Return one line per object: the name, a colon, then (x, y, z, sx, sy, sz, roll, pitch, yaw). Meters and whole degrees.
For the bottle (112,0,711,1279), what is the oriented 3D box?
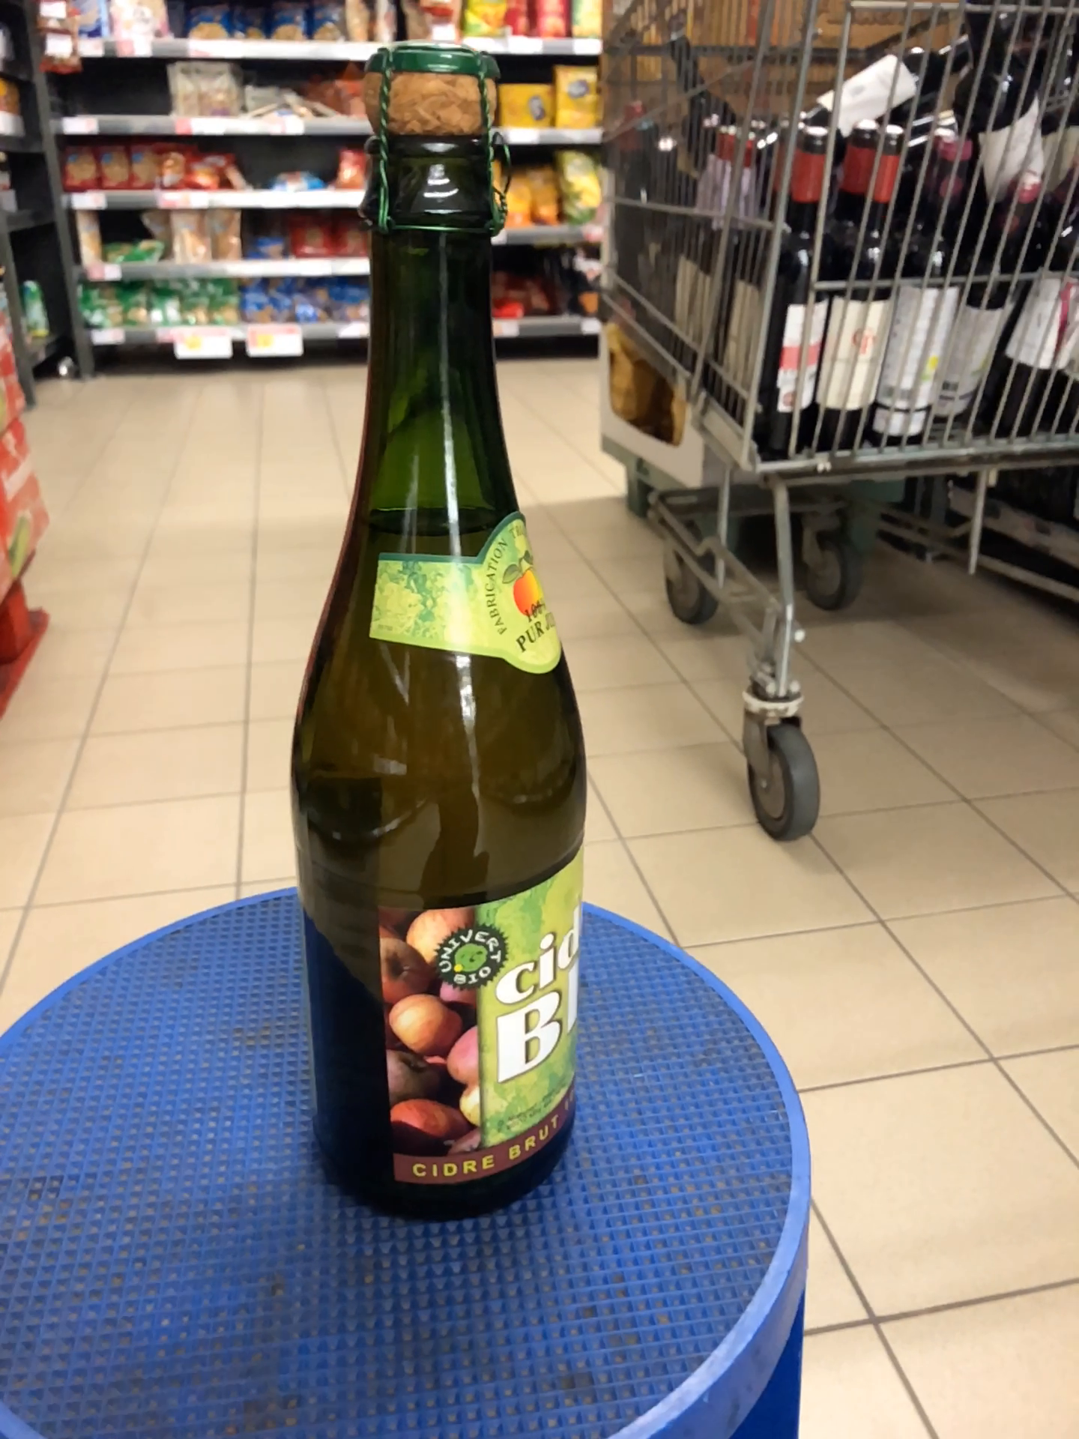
bottle: (-0.024, -0.013, 0.311, 0.090, 0.288, 0.091, 0, 23, 0)
